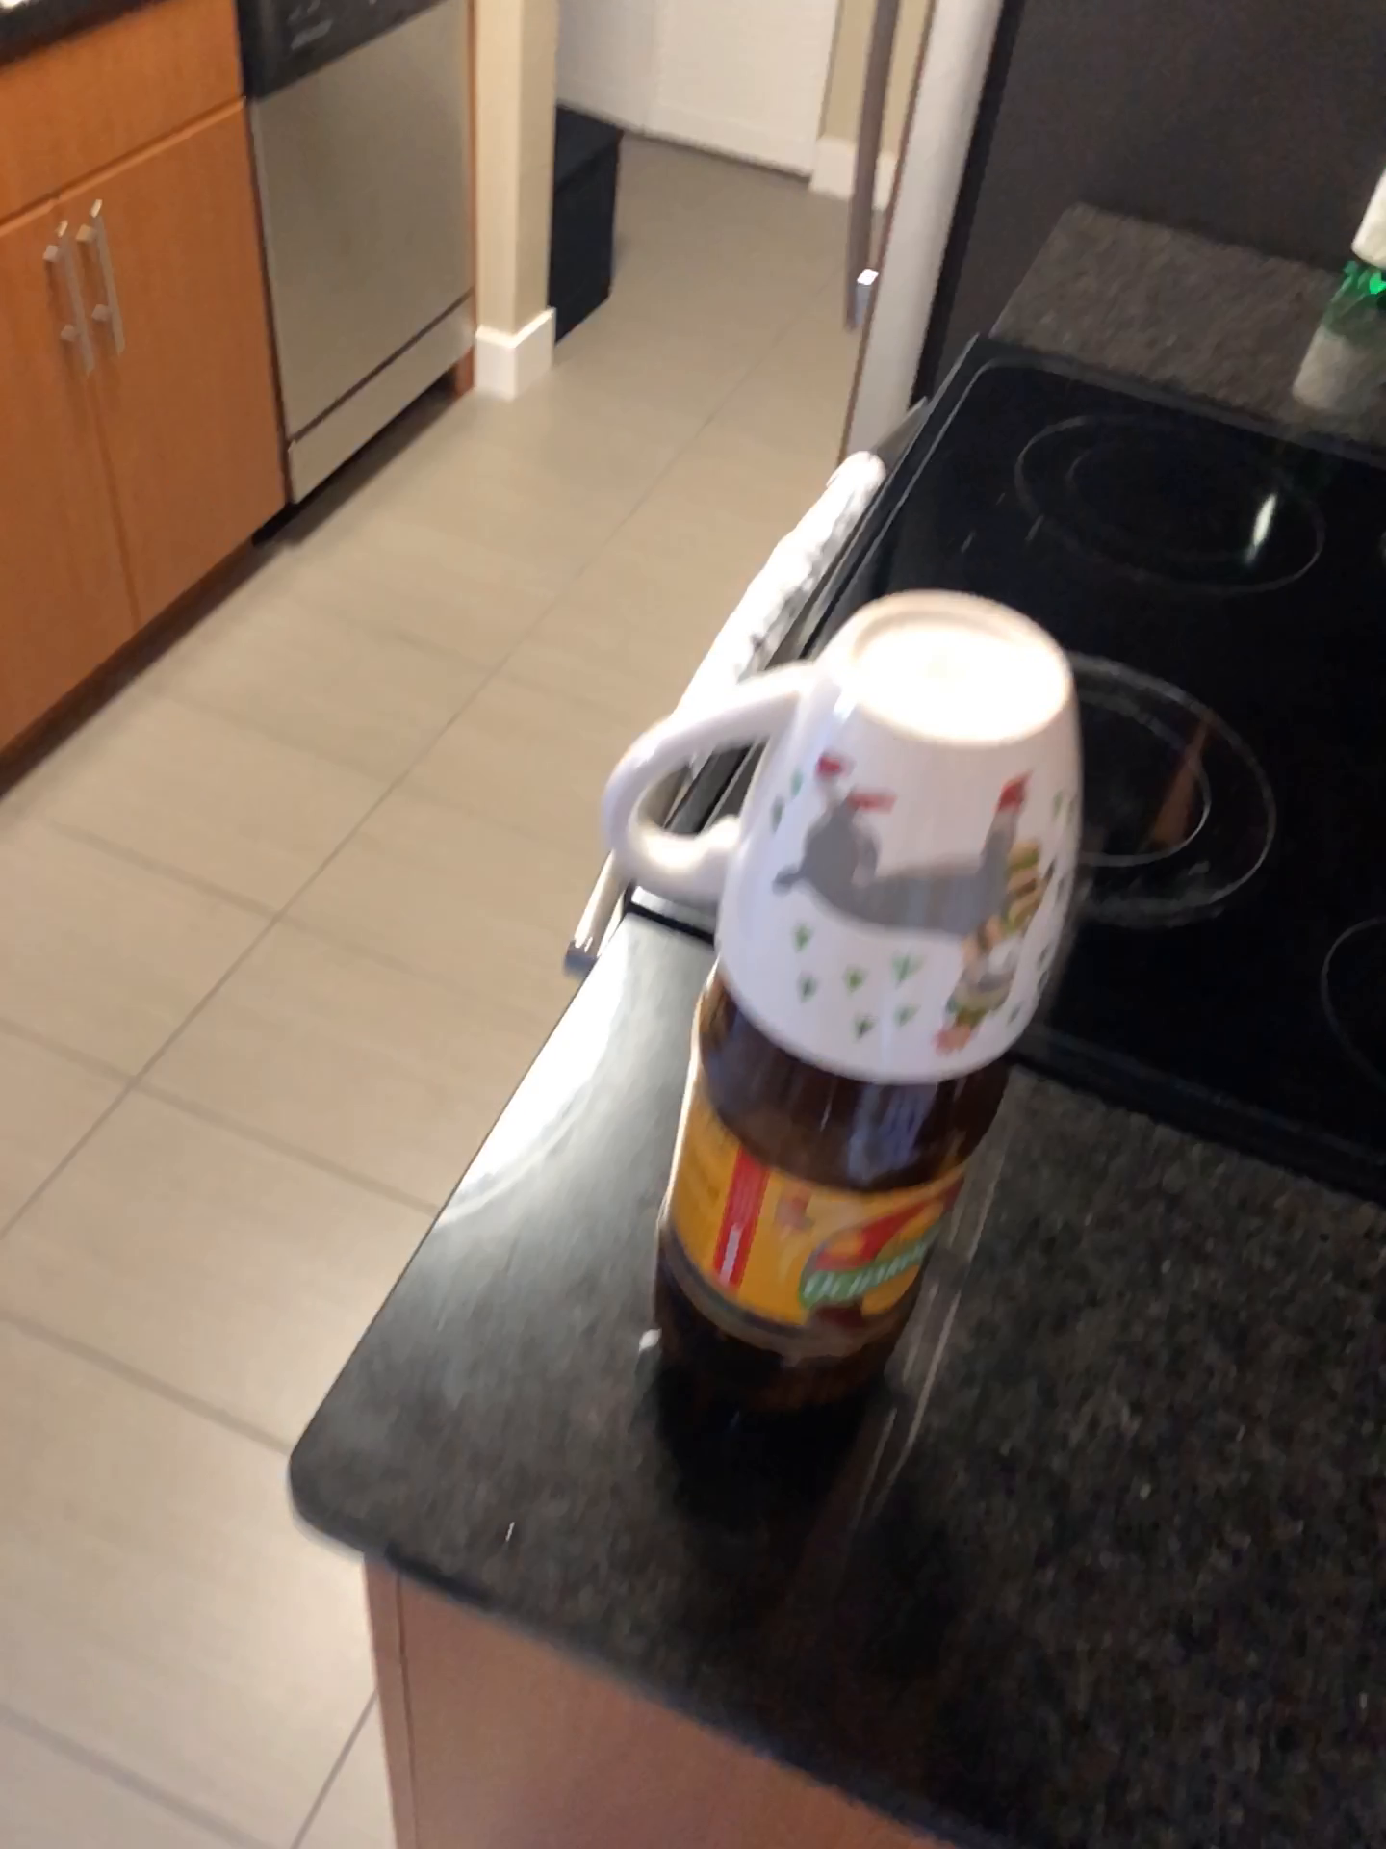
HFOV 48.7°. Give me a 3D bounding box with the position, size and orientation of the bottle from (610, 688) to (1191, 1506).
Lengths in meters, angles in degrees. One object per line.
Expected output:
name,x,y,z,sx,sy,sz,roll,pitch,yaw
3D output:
bottle,0.051,0.073,0.522,0.100,0.279,0.100,4,46,-5
